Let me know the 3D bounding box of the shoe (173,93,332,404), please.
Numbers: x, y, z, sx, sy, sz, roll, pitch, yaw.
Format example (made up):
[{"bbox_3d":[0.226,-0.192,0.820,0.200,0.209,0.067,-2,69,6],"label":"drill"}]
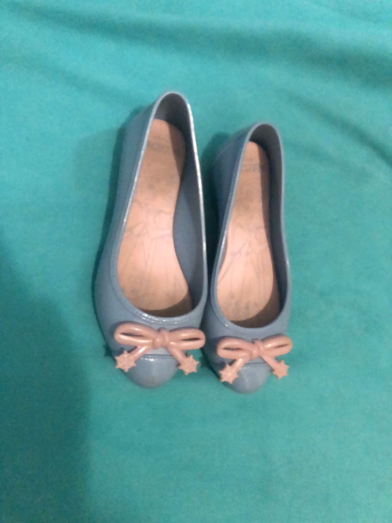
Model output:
[{"bbox_3d":[0.035,-0.008,0.307,0.080,0.060,0.190,0,82,-21],"label":"shoe"}]

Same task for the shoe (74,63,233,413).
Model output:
[{"bbox_3d":[-0.031,-0.013,0.277,0.080,0.060,0.190,0,82,-21],"label":"shoe"}]
